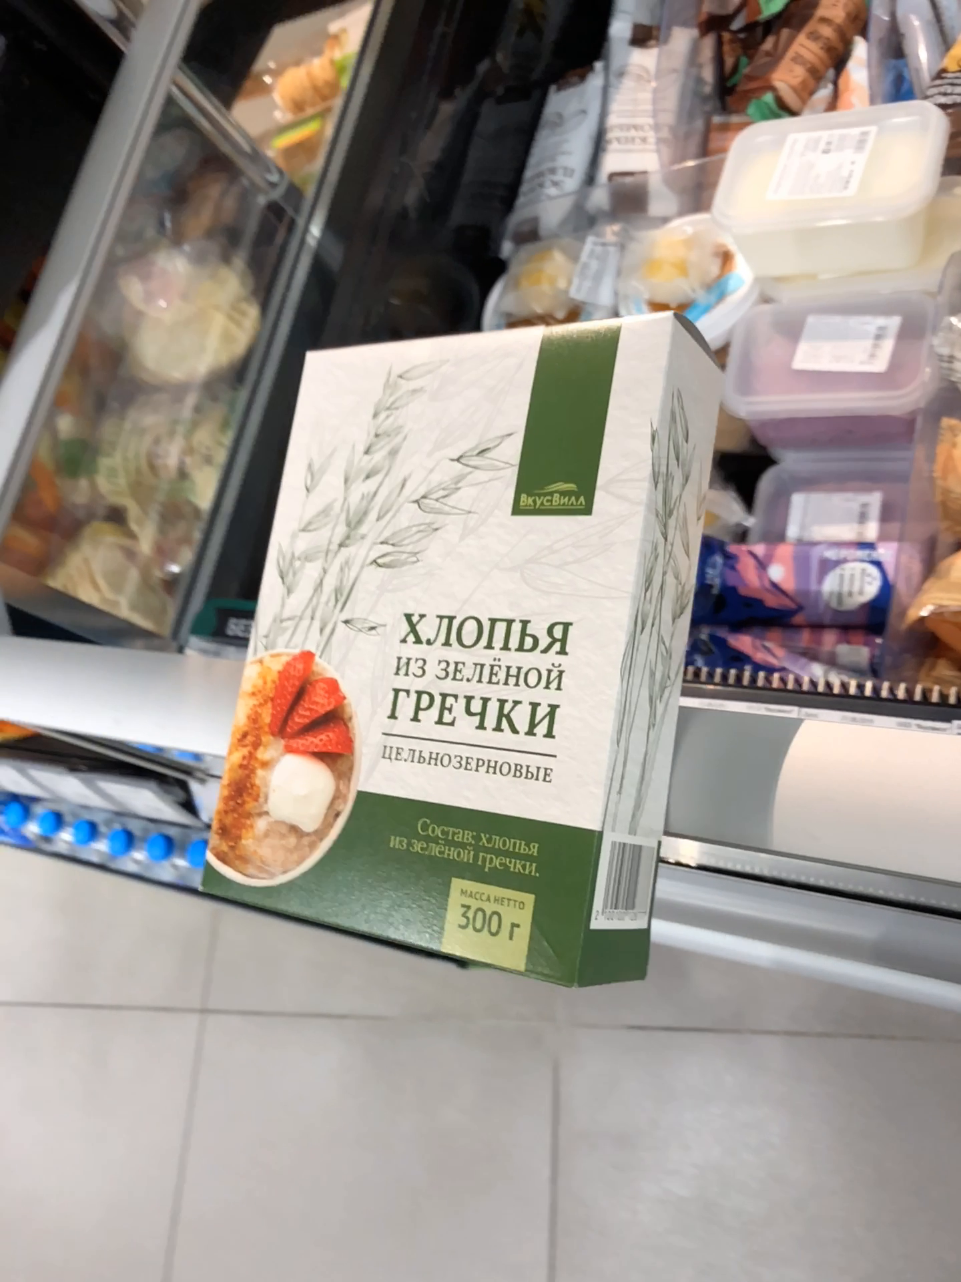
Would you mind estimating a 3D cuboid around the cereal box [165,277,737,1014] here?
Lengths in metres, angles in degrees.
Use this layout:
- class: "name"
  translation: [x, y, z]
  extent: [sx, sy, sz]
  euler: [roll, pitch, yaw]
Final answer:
- class: "cereal box"
  translation: [-0.011, -0.004, 0.344]
  extent: [0.150, 0.050, 0.200]
  euler: [5, 81, 31]
